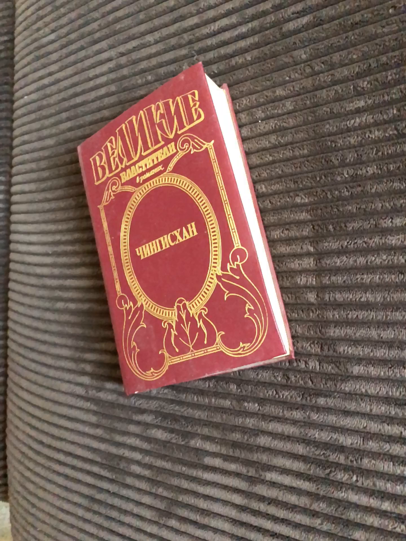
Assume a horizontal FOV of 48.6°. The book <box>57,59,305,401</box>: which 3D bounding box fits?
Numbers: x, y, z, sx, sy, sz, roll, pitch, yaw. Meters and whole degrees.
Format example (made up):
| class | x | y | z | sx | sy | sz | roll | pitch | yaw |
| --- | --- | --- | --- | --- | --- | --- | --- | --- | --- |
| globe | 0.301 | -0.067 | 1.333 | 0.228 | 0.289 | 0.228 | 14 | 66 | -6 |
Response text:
| class | x | y | z | sx | sy | sz | roll | pitch | yaw |
| --- | --- | --- | --- | --- | --- | --- | --- | --- | --- |
| book | -0.026 | -0.022 | 0.333 | 0.137 | 0.050 | 0.202 | -22 | 76 | 30 |
